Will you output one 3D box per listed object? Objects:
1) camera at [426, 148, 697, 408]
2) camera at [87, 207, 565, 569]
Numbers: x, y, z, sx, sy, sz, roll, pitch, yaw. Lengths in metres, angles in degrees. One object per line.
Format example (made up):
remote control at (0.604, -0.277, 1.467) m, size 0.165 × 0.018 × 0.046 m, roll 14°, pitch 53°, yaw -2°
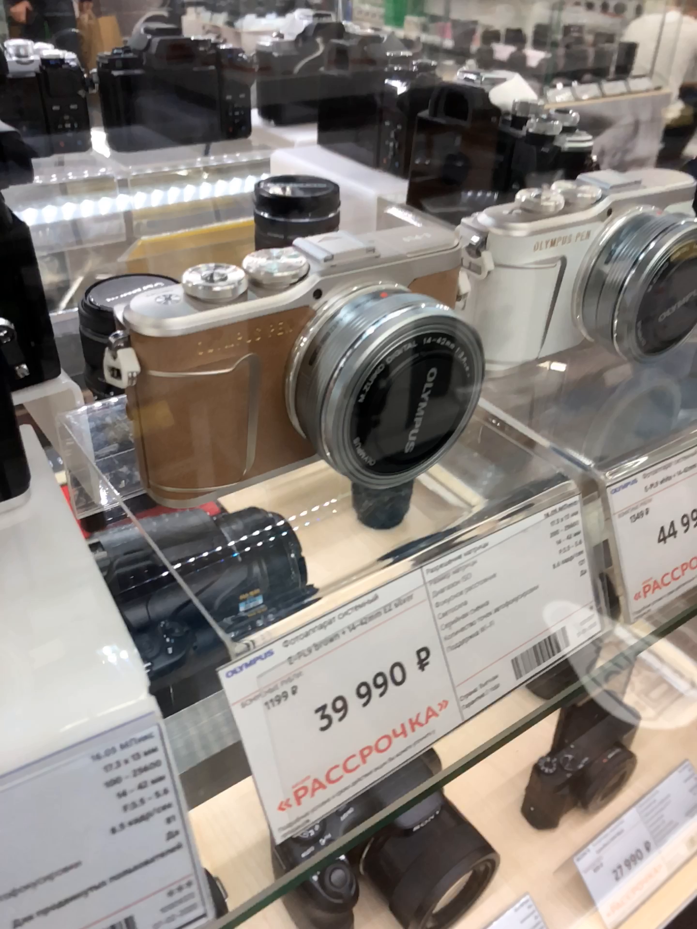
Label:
camera at (0.099, -0.077, 0.299) m, size 0.122 × 0.060 × 0.060 m, roll -21°, pitch 41°, yaw -30°
camera at (-0.004, -0.031, 0.235) m, size 0.122 × 0.060 × 0.060 m, roll -21°, pitch 41°, yaw -30°
